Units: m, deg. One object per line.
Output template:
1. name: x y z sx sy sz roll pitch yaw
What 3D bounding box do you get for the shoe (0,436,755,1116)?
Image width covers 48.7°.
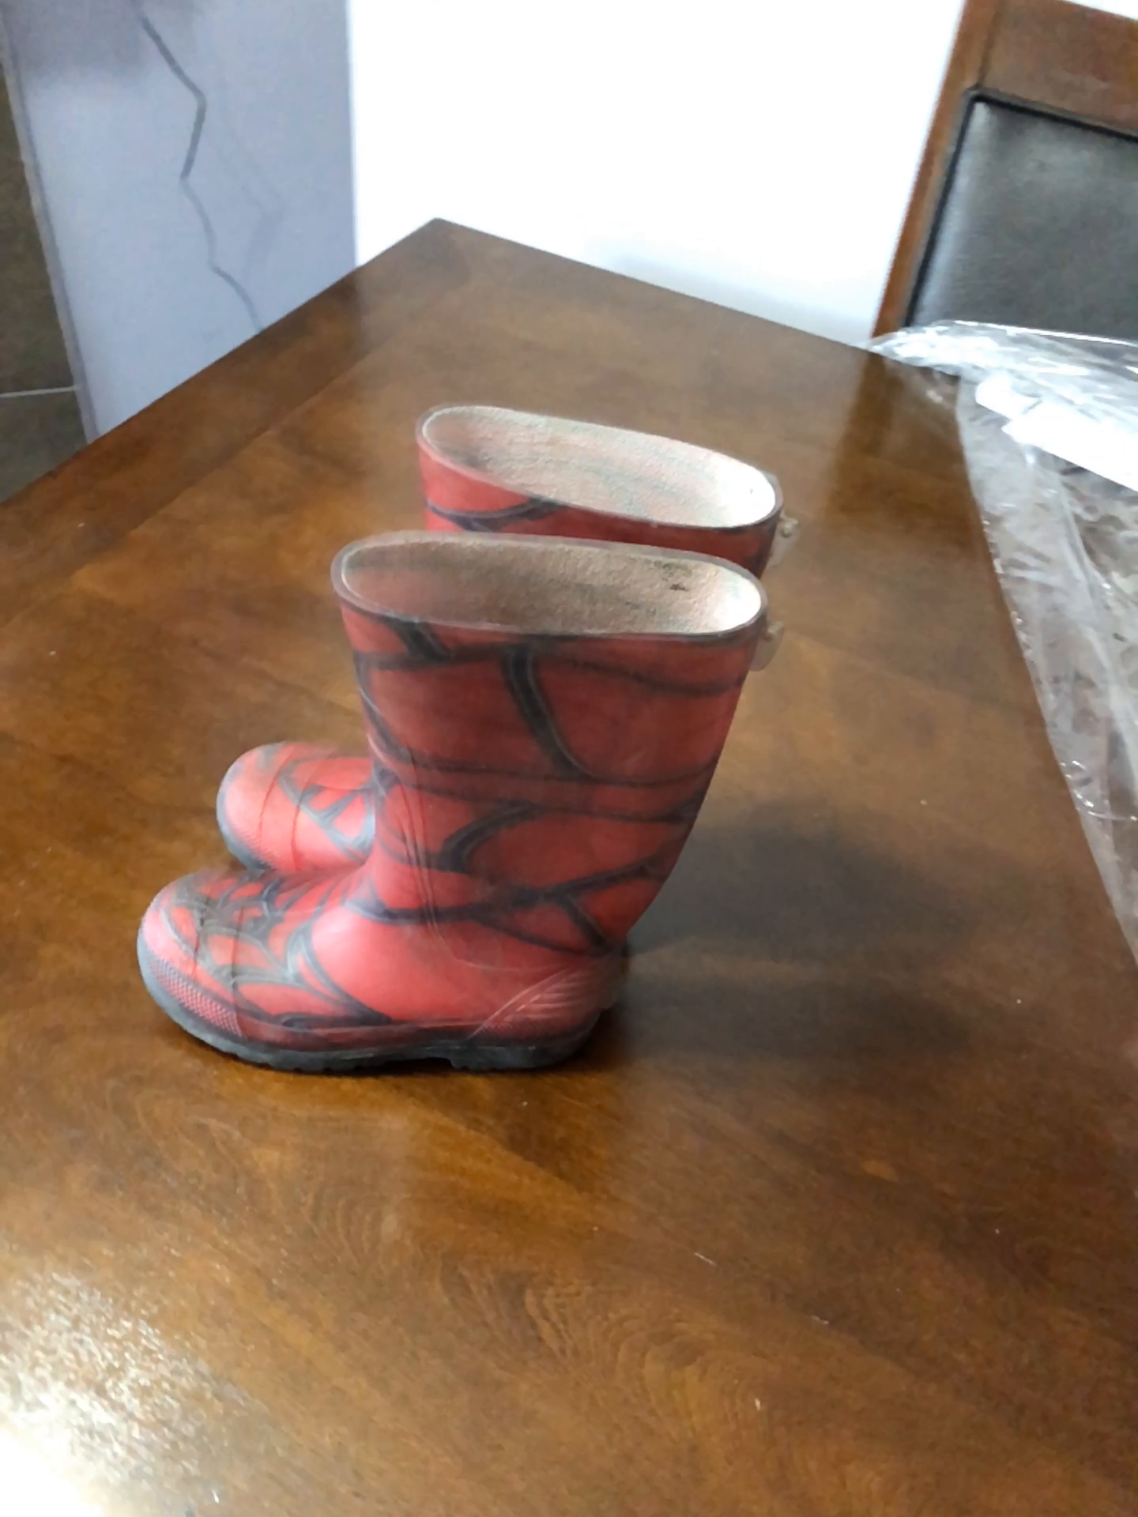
1. shoe: -0.065 0.022 0.456 0.220 0.239 0.080 7 46 0

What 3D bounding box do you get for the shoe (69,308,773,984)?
1. shoe: -0.054 -0.031 0.505 0.220 0.239 0.080 11 46 4
